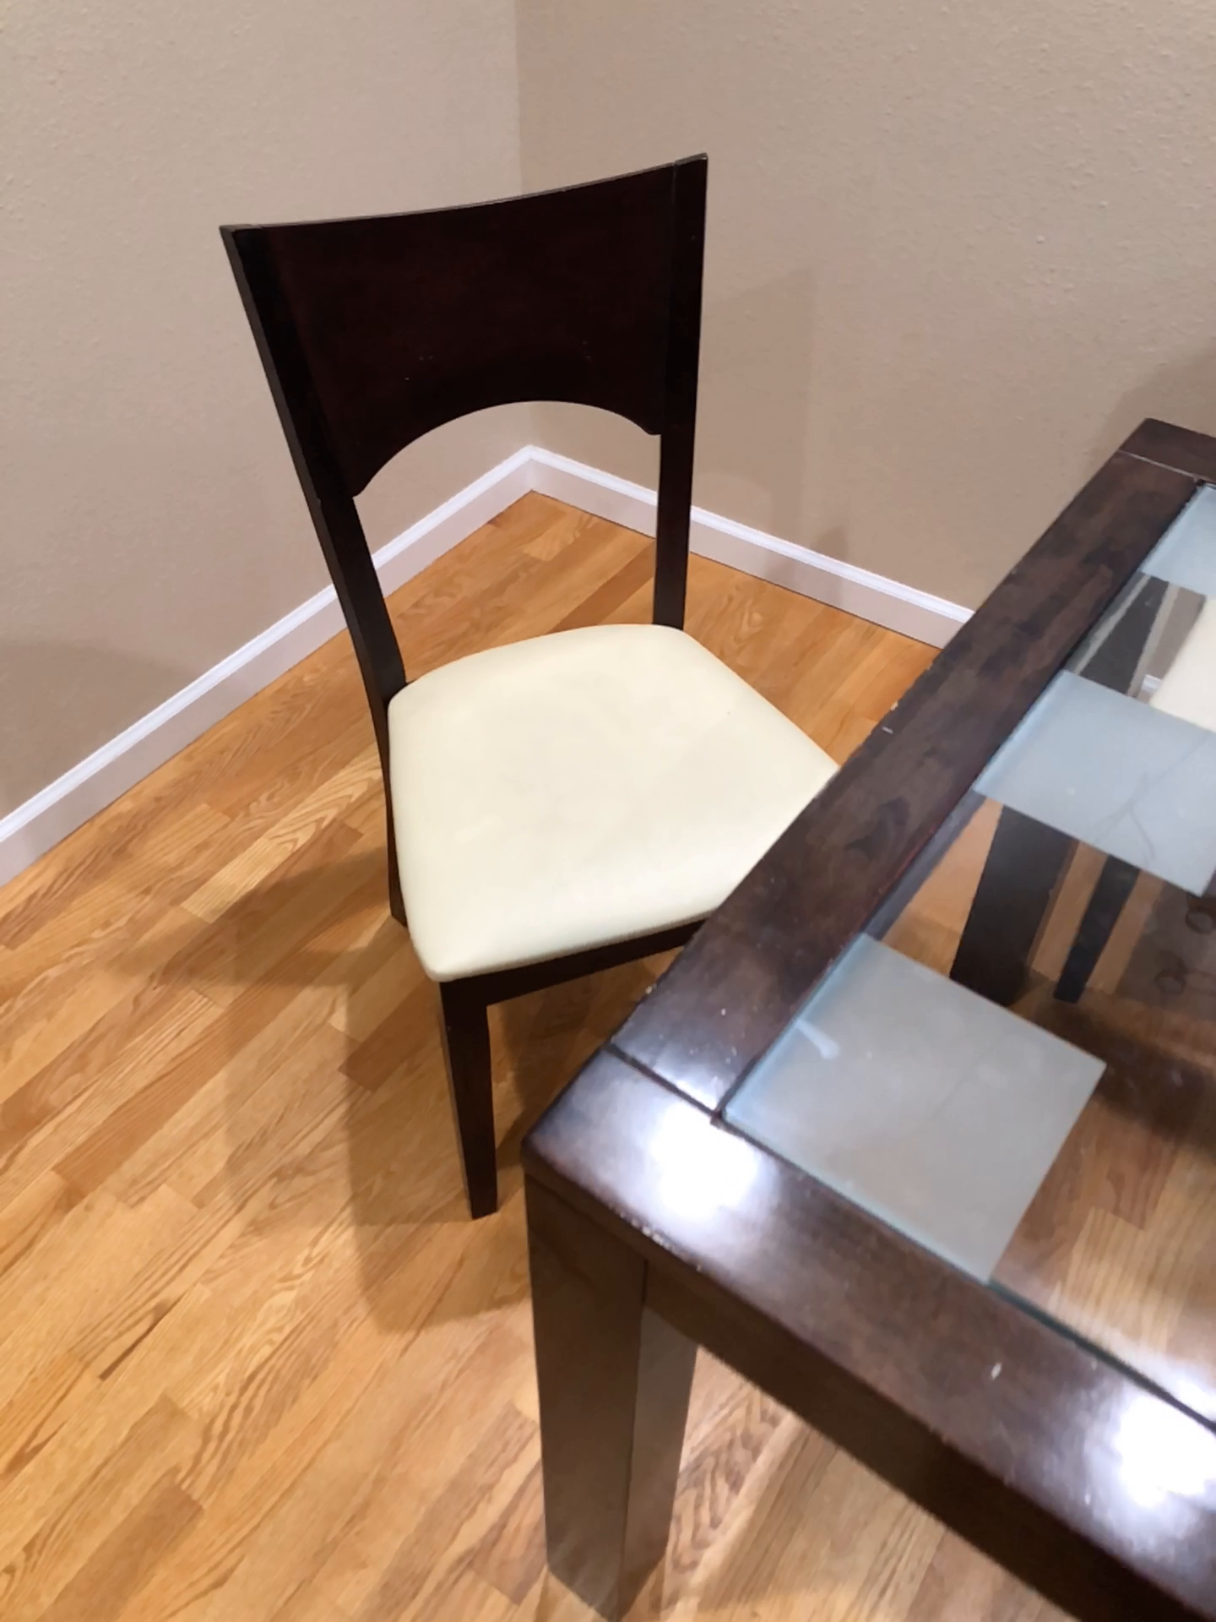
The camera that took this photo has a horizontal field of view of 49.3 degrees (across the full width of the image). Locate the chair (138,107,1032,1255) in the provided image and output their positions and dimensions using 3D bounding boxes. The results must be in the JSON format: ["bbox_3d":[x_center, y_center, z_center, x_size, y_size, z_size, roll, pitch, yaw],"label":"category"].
[{"bbox_3d":[-0.060,-0.090,1.304,0.520,0.905,0.533,-14,48,-14],"label":"chair"}]
